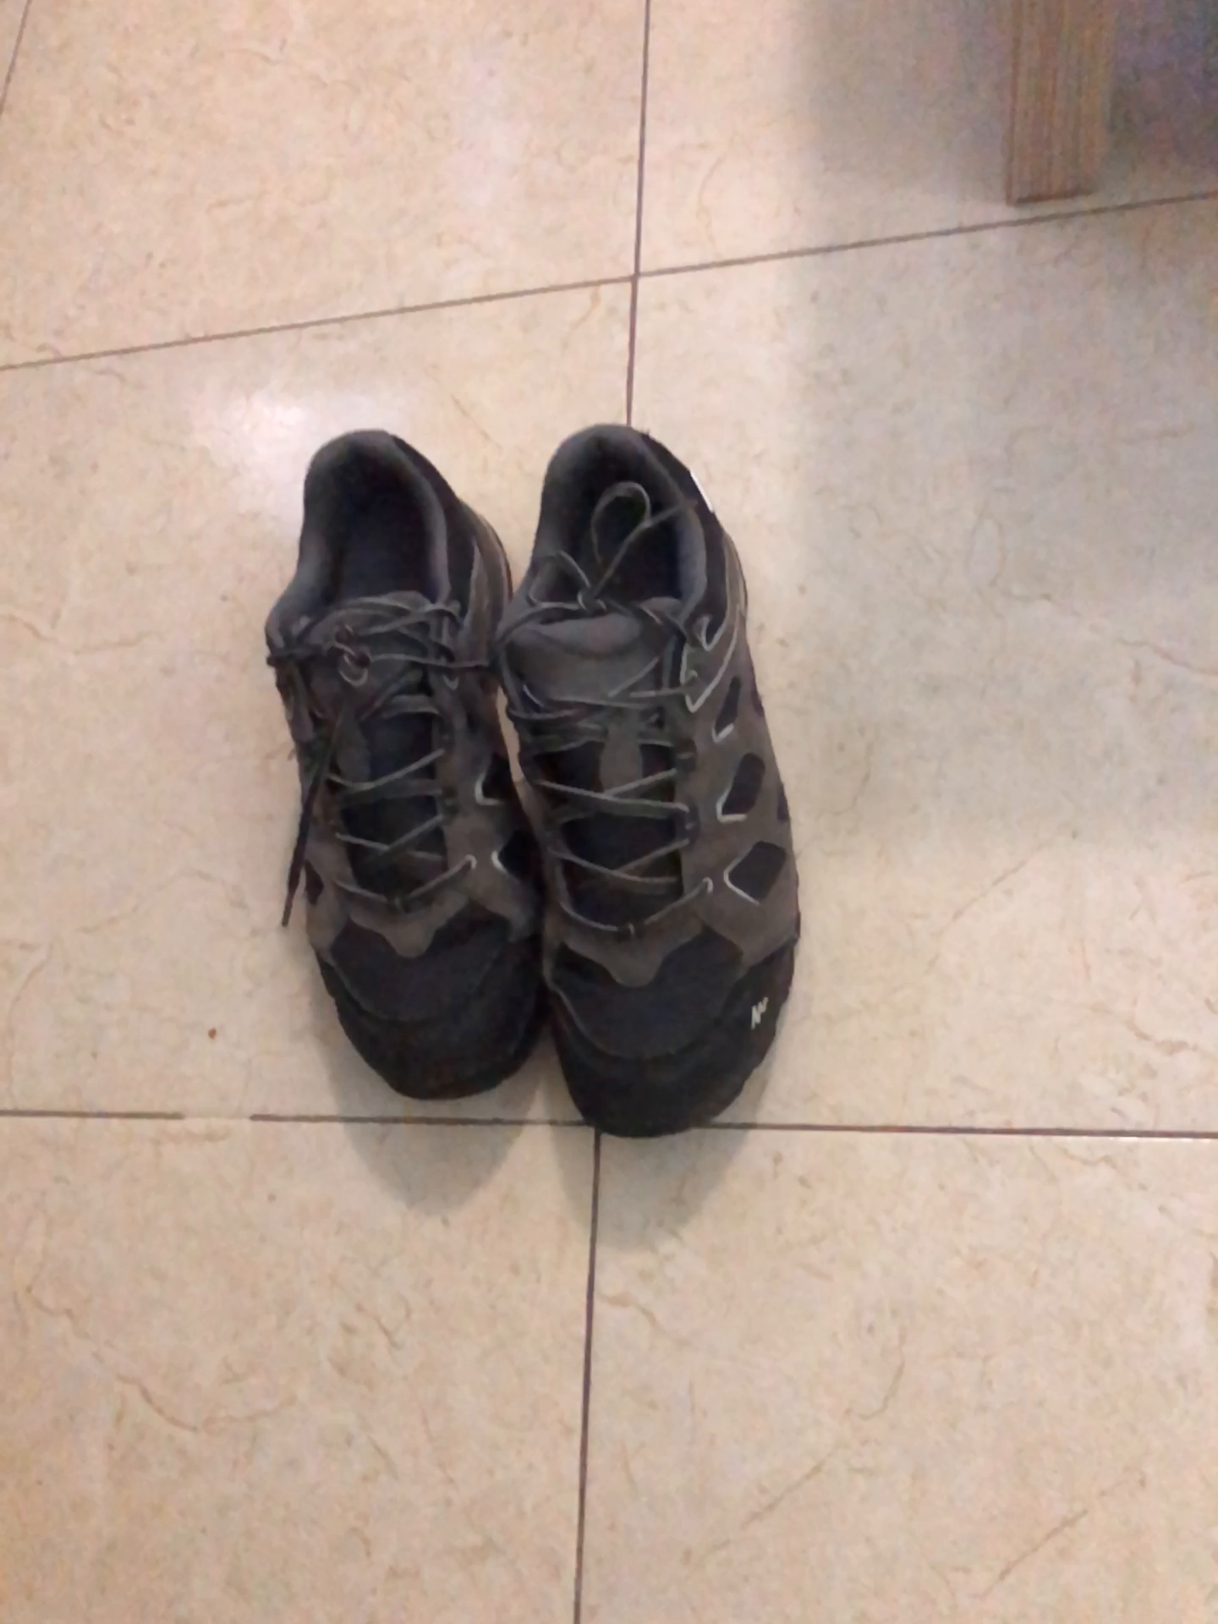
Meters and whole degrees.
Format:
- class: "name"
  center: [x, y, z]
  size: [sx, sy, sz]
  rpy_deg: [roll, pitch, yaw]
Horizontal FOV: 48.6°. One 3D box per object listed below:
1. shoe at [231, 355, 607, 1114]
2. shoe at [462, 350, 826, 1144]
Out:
- class: "shoe"
  center: [-0.089, -0.034, 0.616]
  size: [0.120, 0.110, 0.310]
  rpy_deg: [-11, 68, 11]
- class: "shoe"
  center: [0.018, -0.024, 0.576]
  size: [0.120, 0.110, 0.310]
  rpy_deg: [-5, 70, 13]
